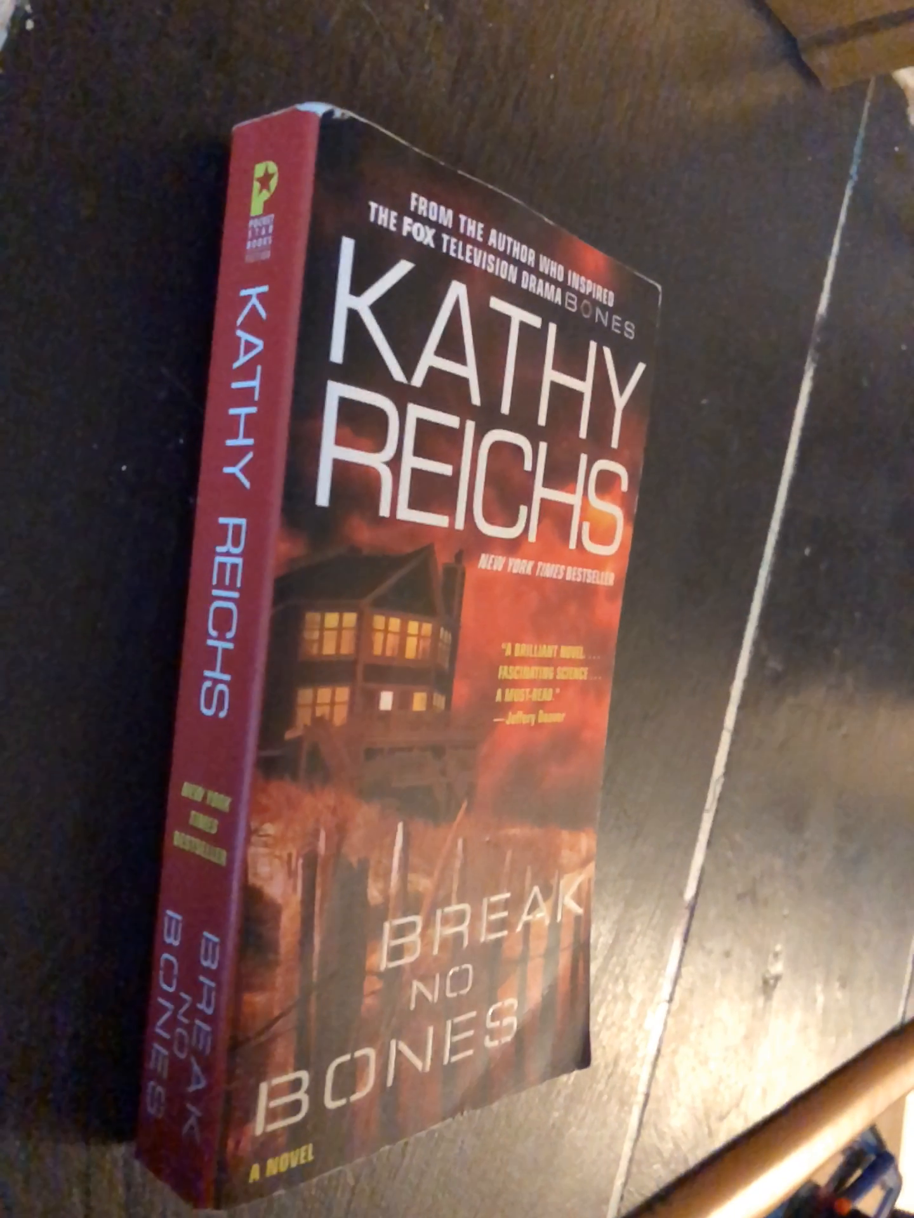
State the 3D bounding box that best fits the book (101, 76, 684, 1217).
[{"bbox_3d":[-0.006,0.012,0.213,0.108,0.030,0.189,6,92,-48],"label":"book"}]
